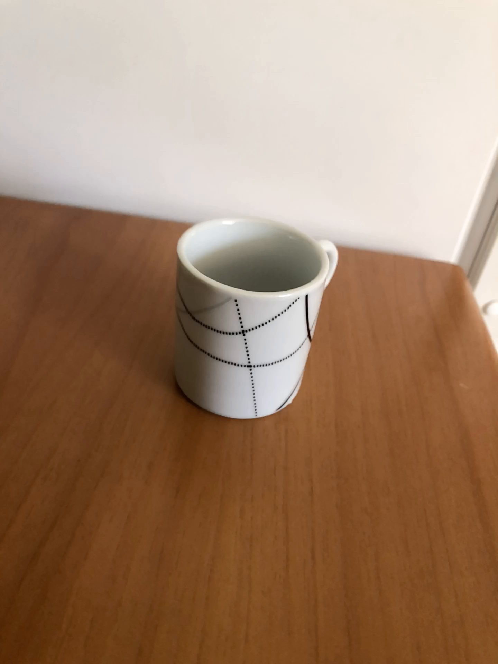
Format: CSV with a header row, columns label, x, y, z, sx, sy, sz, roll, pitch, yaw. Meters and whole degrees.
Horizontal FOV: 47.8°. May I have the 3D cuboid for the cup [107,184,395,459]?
label,x,y,z,sx,sy,sz,roll,pitch,yaw
cup,-0.001,-0.009,0.192,0.060,0.050,0.070,34,44,30
